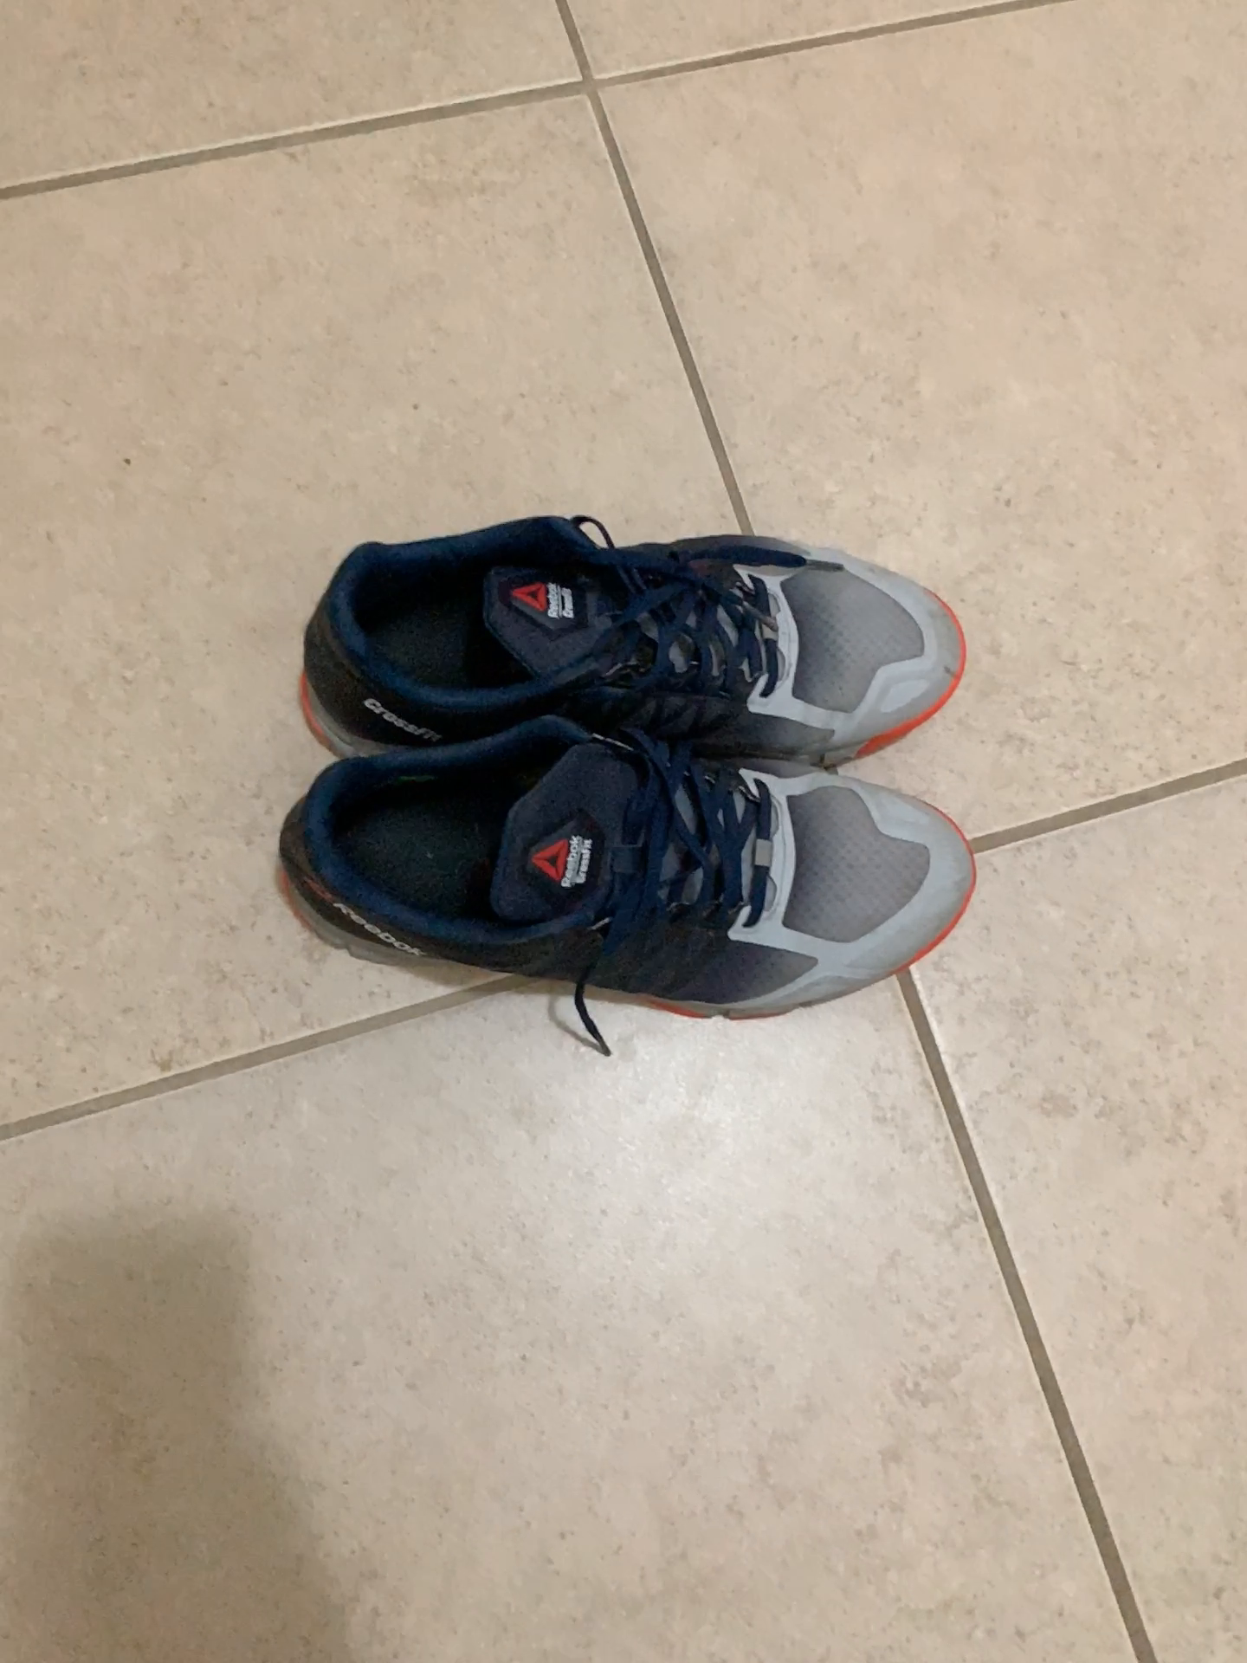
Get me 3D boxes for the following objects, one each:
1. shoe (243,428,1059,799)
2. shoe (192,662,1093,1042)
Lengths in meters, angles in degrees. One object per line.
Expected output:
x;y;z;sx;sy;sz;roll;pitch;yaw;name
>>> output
0.006;-0.088;0.545;0.304;0.122;0.104;-3;76;-6;shoe
0.007;0.018;0.522;0.314;0.134;0.109;3;75;-4;shoe
